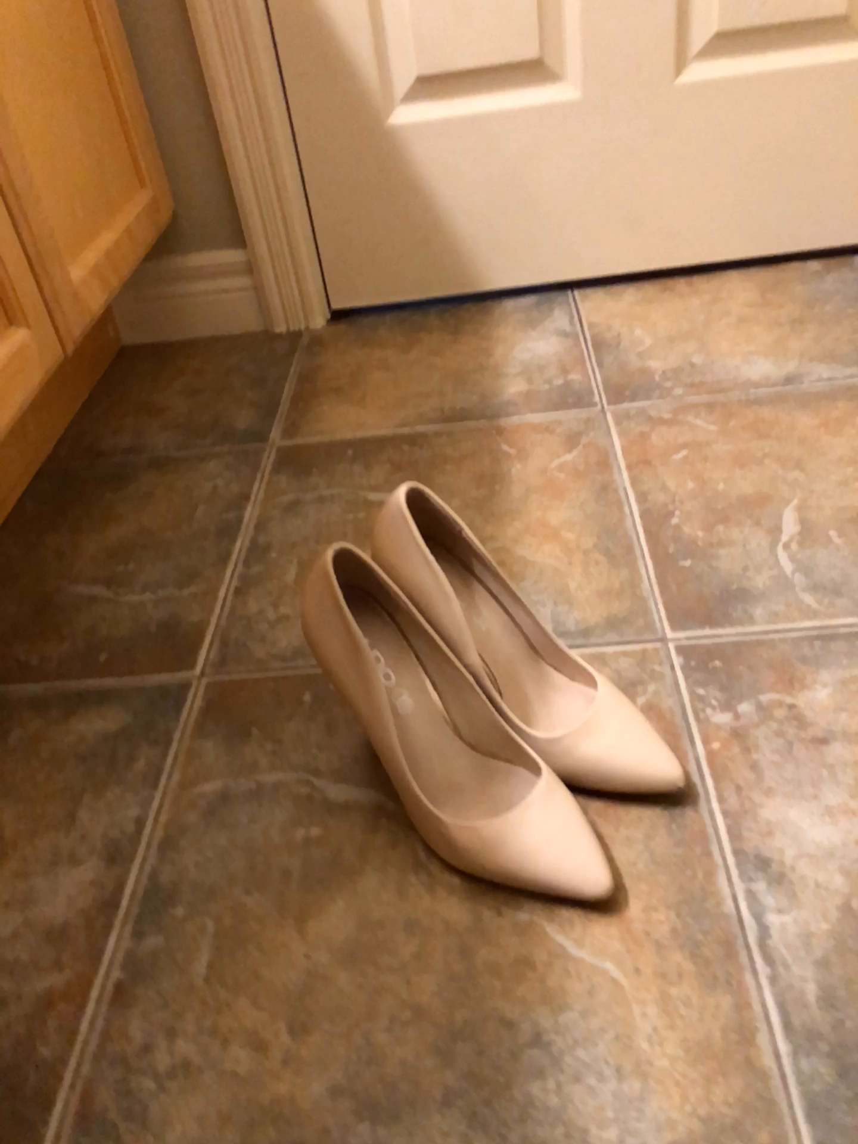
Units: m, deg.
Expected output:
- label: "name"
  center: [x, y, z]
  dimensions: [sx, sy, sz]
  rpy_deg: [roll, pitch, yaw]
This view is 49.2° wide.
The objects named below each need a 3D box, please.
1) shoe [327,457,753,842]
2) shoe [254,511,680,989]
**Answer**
- label: "shoe"
  center: [0.059, 0.035, 0.553]
  dimensions: [0.231, 0.129, 0.080]
  rpy_deg: [23, 47, 36]
- label: "shoe"
  center: [0.016, 0.085, 0.518]
  dimensions: [0.080, 0.149, 0.231]
  rpy_deg: [-32, 42, -28]
